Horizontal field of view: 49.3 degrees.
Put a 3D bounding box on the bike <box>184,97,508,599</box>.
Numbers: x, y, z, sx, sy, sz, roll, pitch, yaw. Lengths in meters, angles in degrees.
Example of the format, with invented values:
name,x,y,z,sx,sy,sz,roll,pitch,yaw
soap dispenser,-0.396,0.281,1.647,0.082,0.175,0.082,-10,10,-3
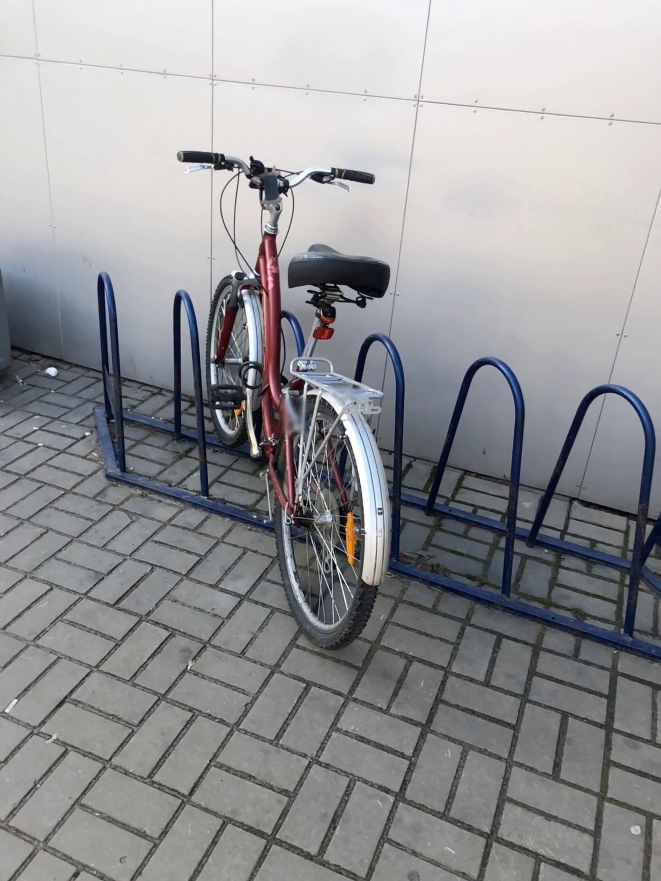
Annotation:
name,x,y,z,sx,sy,sz,roll,pitch,yaw
bike,-0.088,-0.412,2.262,0.596,0.972,1.312,-4,32,-17
